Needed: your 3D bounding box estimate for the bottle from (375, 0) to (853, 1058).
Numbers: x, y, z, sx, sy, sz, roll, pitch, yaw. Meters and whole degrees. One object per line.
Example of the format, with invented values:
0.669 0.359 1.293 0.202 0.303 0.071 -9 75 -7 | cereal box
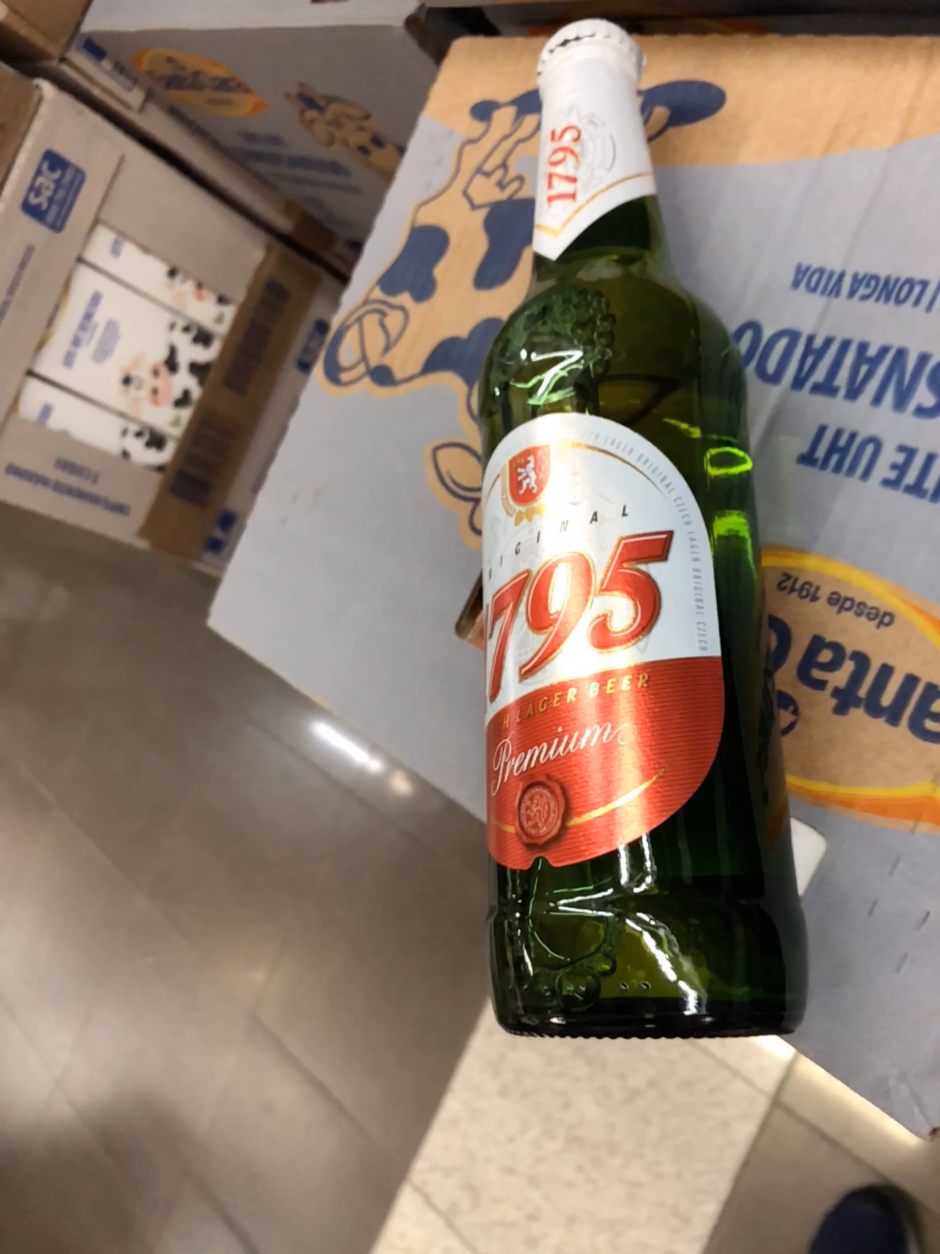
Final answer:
0.029 -0.047 0.248 0.070 0.060 0.270 -15 65 35 | bottle
